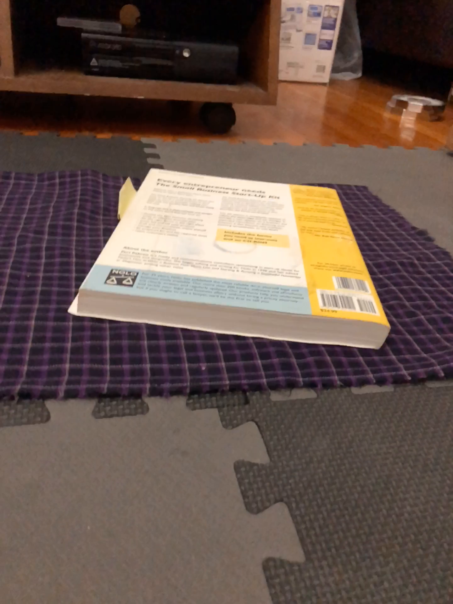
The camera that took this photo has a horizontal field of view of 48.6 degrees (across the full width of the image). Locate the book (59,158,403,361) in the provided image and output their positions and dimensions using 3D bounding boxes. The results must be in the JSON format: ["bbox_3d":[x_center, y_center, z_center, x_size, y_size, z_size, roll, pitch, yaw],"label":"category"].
[{"bbox_3d":[0.010,-0.065,0.474,0.230,0.030,0.312,7,31,-1],"label":"book"}]
